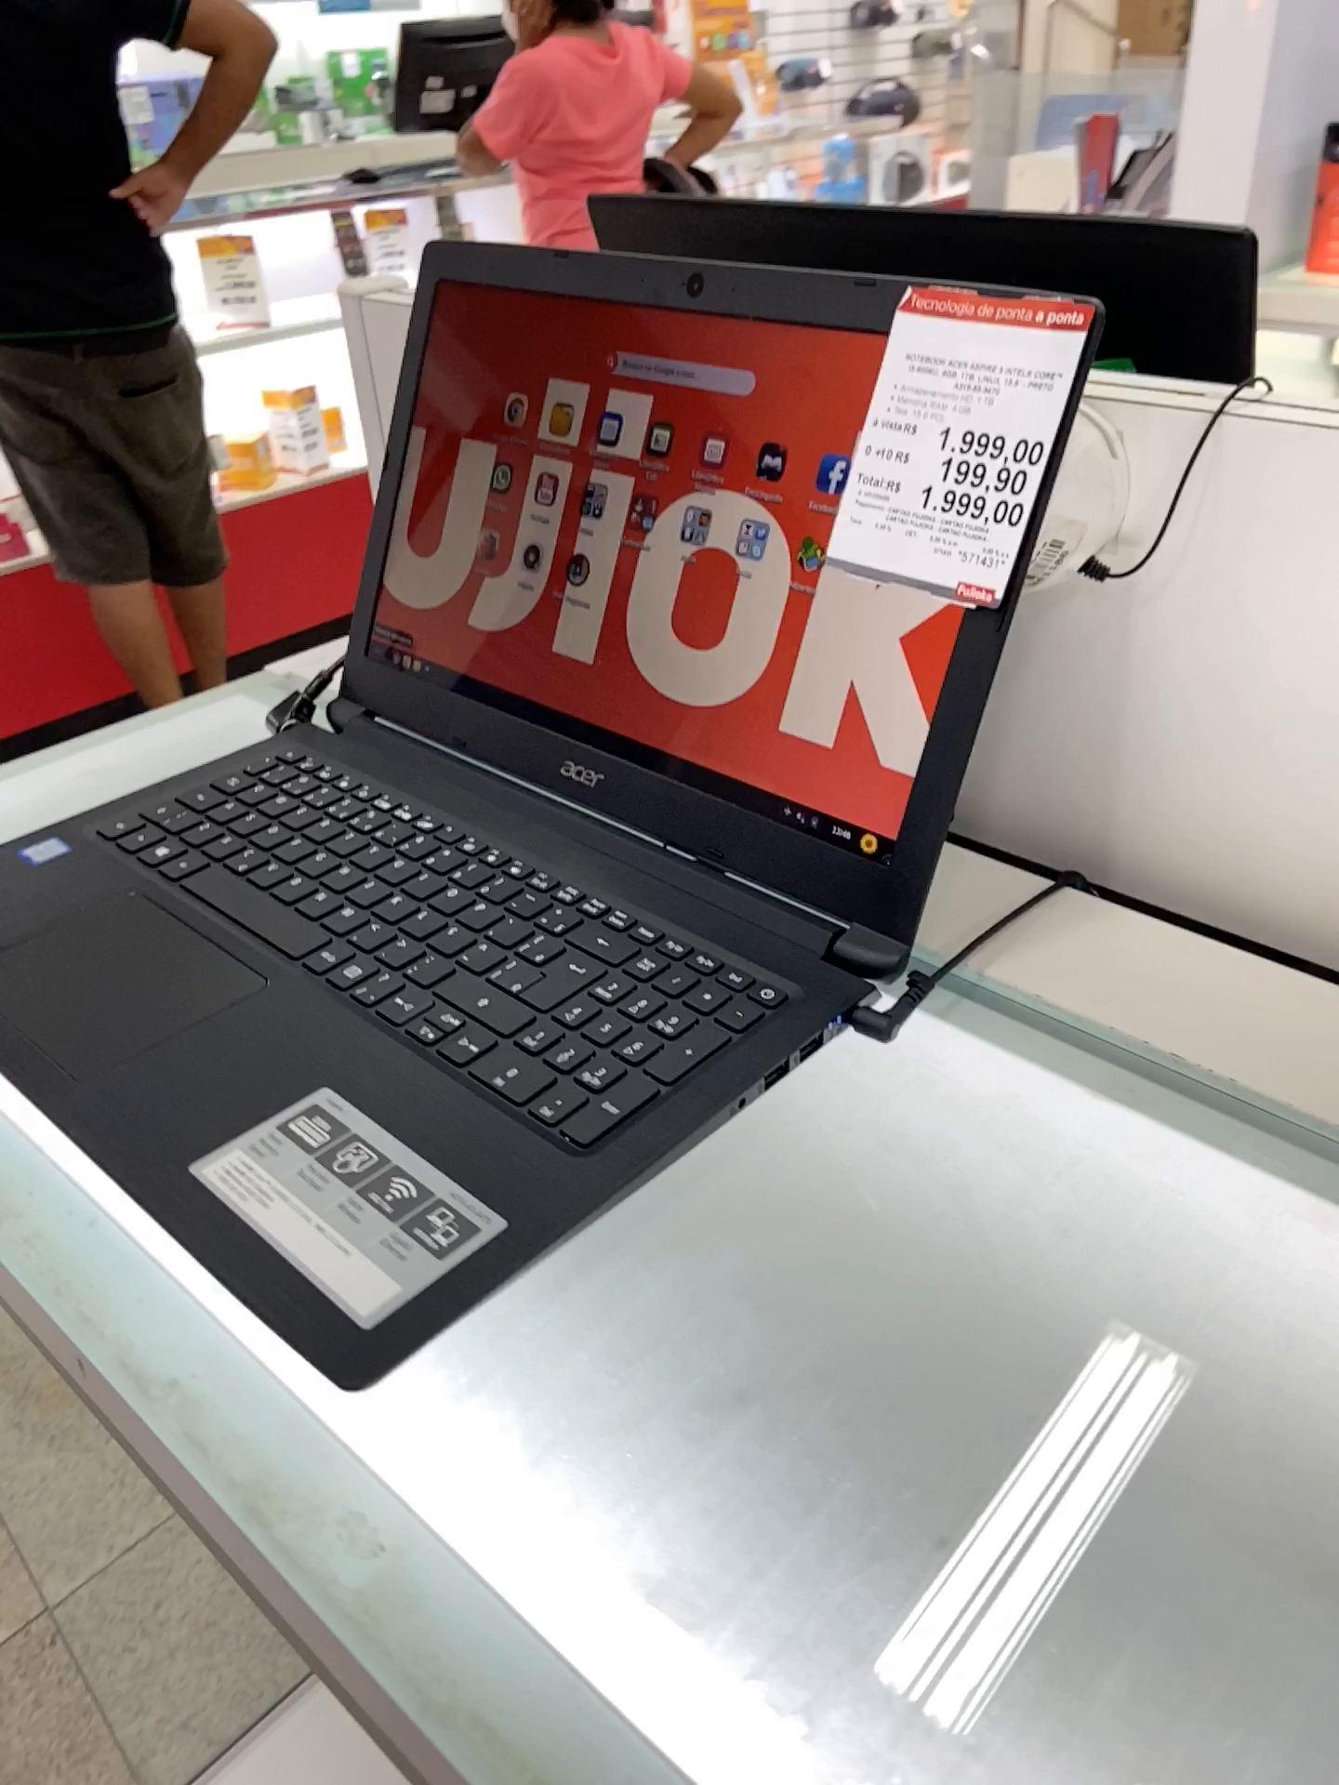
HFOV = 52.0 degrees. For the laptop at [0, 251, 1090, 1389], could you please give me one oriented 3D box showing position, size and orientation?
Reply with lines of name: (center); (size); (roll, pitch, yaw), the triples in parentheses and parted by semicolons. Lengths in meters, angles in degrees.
laptop: (-0.112, -0.100, 0.554); (0.393, 0.230, 0.371); (25, 41, 37)
